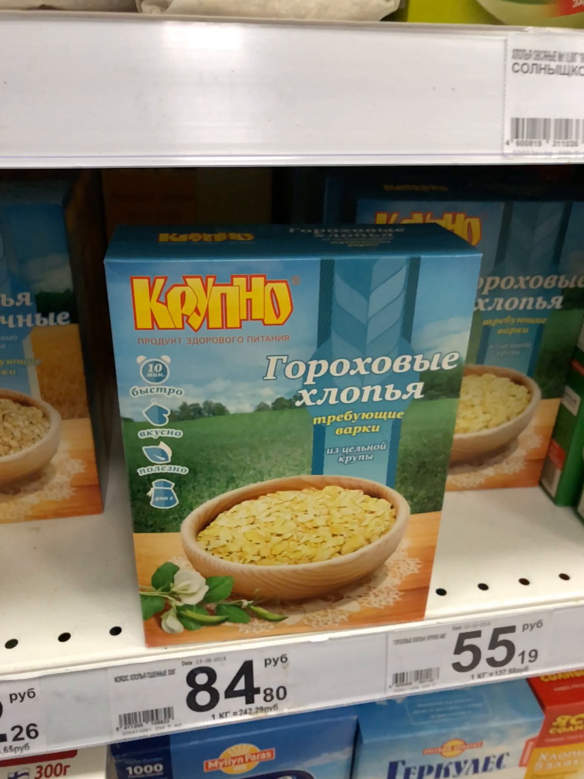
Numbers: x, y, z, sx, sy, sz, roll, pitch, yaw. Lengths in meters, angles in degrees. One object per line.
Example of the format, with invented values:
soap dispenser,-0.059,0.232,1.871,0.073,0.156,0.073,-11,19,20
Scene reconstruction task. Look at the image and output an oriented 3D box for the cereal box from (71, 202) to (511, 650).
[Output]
cereal box,-0.003,0.021,0.301,0.160,0.199,0.050,-3,27,-9
